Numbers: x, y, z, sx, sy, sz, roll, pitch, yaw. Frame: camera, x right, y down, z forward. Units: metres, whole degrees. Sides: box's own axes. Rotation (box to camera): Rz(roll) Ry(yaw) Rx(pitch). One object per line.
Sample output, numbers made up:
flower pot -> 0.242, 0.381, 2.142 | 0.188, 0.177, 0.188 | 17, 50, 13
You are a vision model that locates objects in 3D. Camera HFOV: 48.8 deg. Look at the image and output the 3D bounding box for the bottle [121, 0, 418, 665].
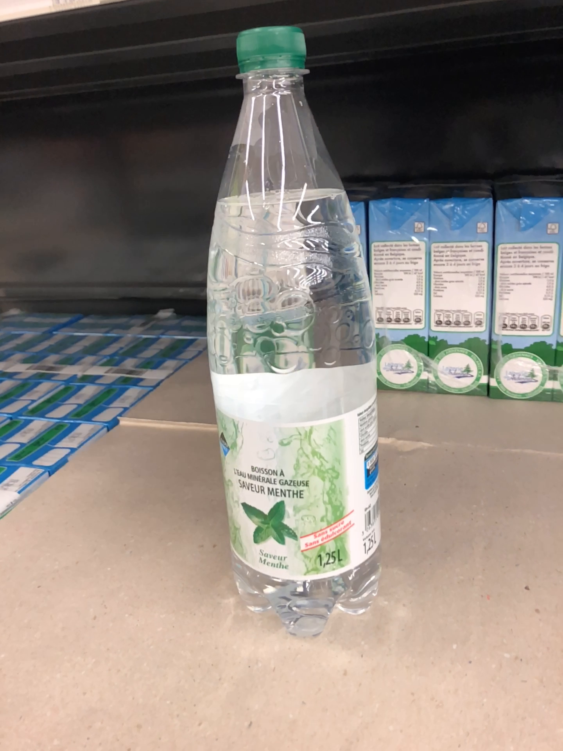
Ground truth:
bottle -> 0.011, -0.014, 0.319 | 0.100, 0.299, 0.091 | 4, 21, 23
